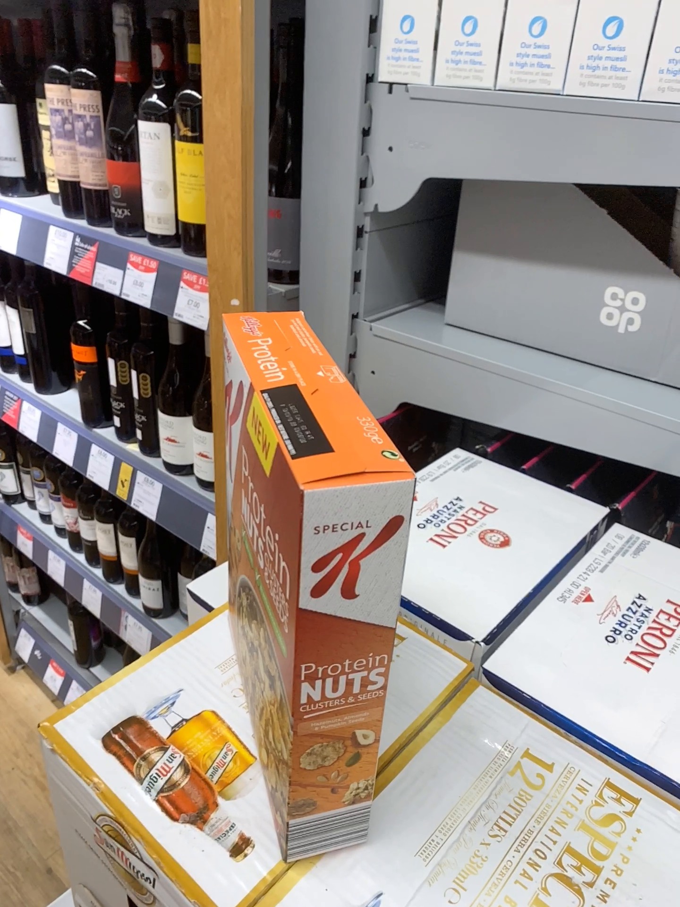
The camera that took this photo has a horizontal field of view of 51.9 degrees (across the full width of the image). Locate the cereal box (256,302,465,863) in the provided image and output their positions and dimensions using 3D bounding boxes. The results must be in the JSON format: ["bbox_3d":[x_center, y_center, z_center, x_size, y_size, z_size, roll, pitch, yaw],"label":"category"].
[{"bbox_3d":[-0.007,0.061,0.394,0.050,0.238,0.192,-4,30,-14],"label":"cereal box"}]
